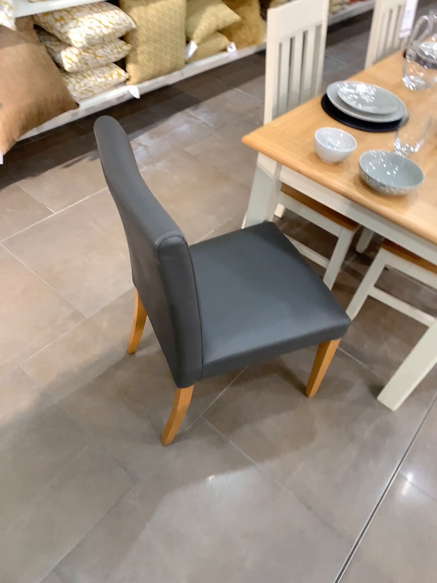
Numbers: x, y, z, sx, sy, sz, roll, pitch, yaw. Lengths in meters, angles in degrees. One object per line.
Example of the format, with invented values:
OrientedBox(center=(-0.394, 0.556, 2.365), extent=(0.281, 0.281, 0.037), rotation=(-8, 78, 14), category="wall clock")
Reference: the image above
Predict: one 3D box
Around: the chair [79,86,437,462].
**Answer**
OrientedBox(center=(0.028, -0.018, 1.311), extent=(0.650, 0.907, 0.478), rotation=(-15, 52, -21), category="chair")
